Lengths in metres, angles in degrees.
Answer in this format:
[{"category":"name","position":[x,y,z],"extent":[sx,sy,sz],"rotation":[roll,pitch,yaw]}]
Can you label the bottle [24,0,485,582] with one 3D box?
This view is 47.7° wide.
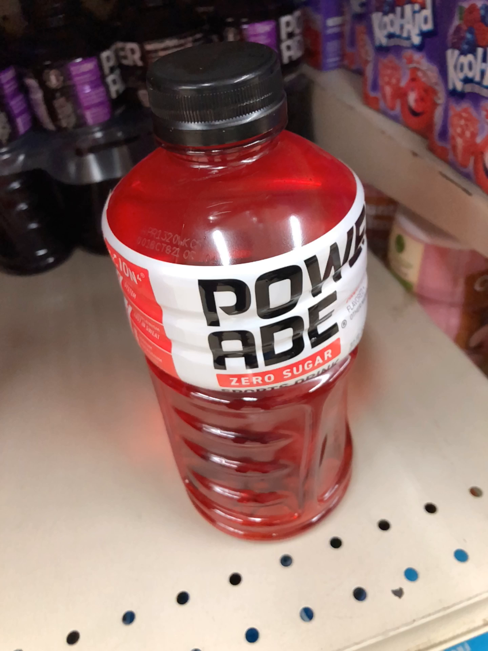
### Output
[{"category":"bottle","position":[0.003,-0.006,0.216],"extent":[0.095,0.190,0.095],"rotation":[-4,42,4]}]
